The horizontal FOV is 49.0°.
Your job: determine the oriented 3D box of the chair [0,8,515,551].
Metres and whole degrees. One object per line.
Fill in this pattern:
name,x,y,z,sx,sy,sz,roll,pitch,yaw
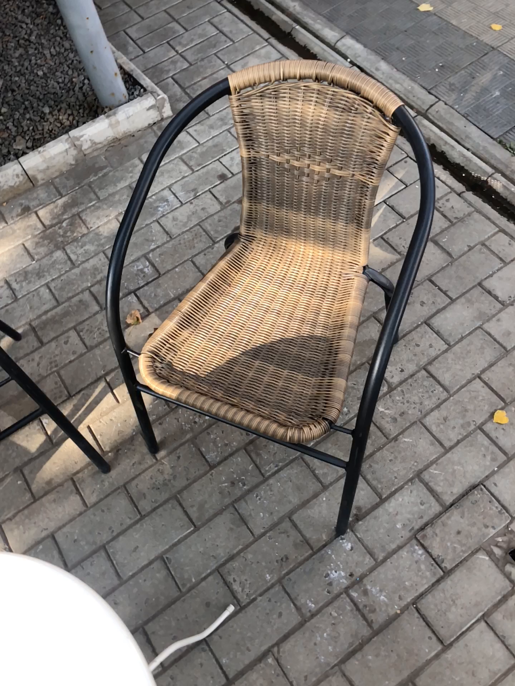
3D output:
chair,0.032,-0.076,1.036,0.540,0.669,0.591,19,65,18
